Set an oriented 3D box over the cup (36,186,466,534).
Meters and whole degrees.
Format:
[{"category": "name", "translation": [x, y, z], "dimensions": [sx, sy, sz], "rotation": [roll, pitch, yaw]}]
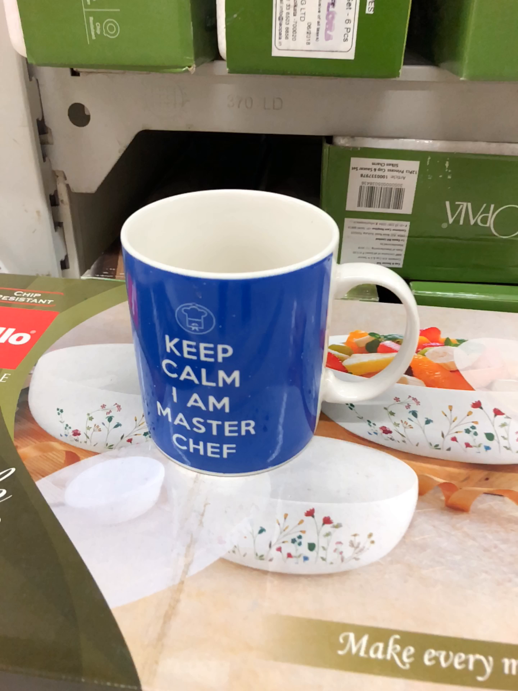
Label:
[{"category": "cup", "translation": [0.000, -0.001, 0.259], "dimensions": [0.140, 0.099, 0.111], "rotation": [5, 32, 4]}]
